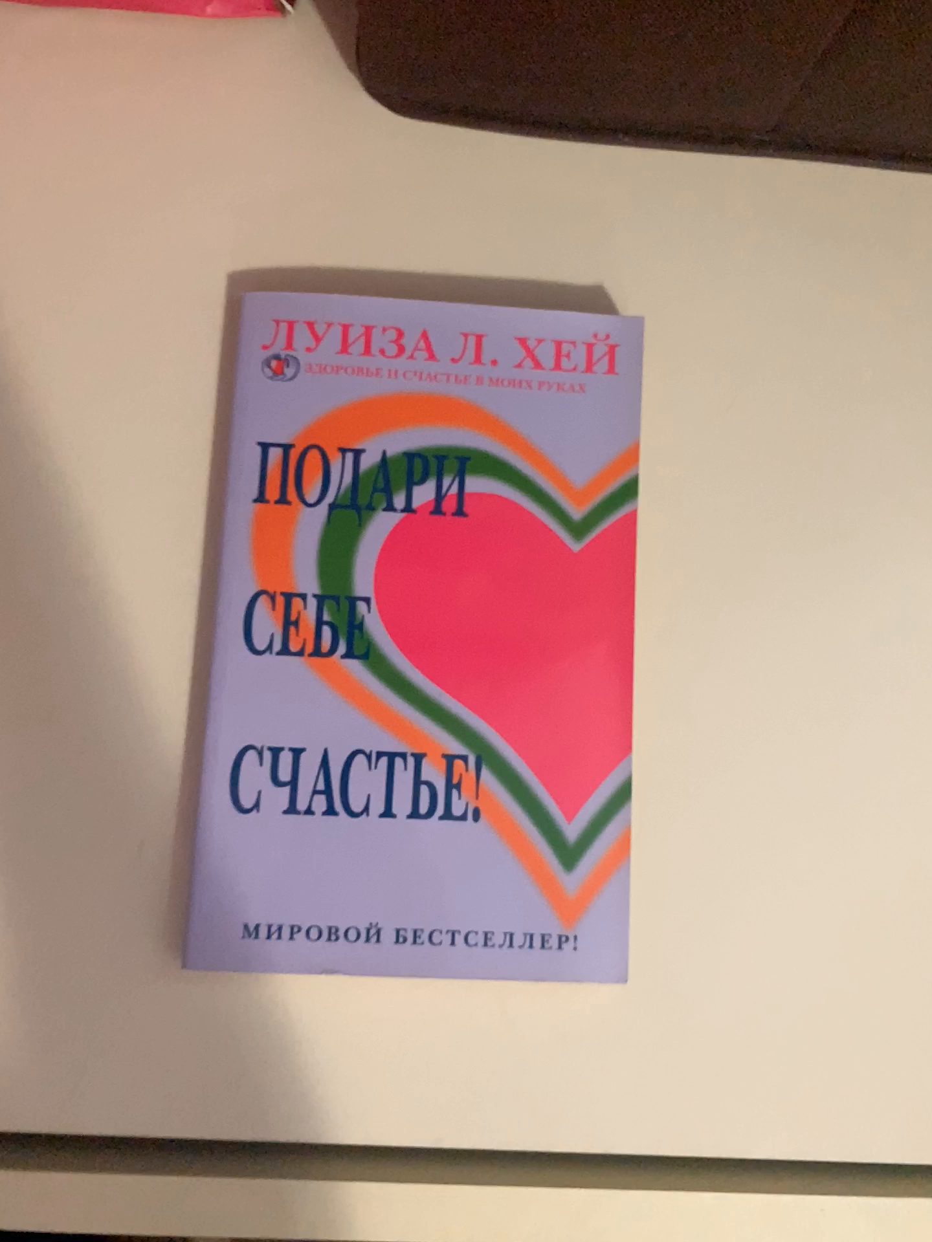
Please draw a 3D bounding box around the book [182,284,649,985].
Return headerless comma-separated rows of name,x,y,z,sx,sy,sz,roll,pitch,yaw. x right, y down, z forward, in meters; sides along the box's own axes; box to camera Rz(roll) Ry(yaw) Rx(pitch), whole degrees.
book,-0.011,0.002,0.281,0.123,0.016,0.194,3,82,-4
